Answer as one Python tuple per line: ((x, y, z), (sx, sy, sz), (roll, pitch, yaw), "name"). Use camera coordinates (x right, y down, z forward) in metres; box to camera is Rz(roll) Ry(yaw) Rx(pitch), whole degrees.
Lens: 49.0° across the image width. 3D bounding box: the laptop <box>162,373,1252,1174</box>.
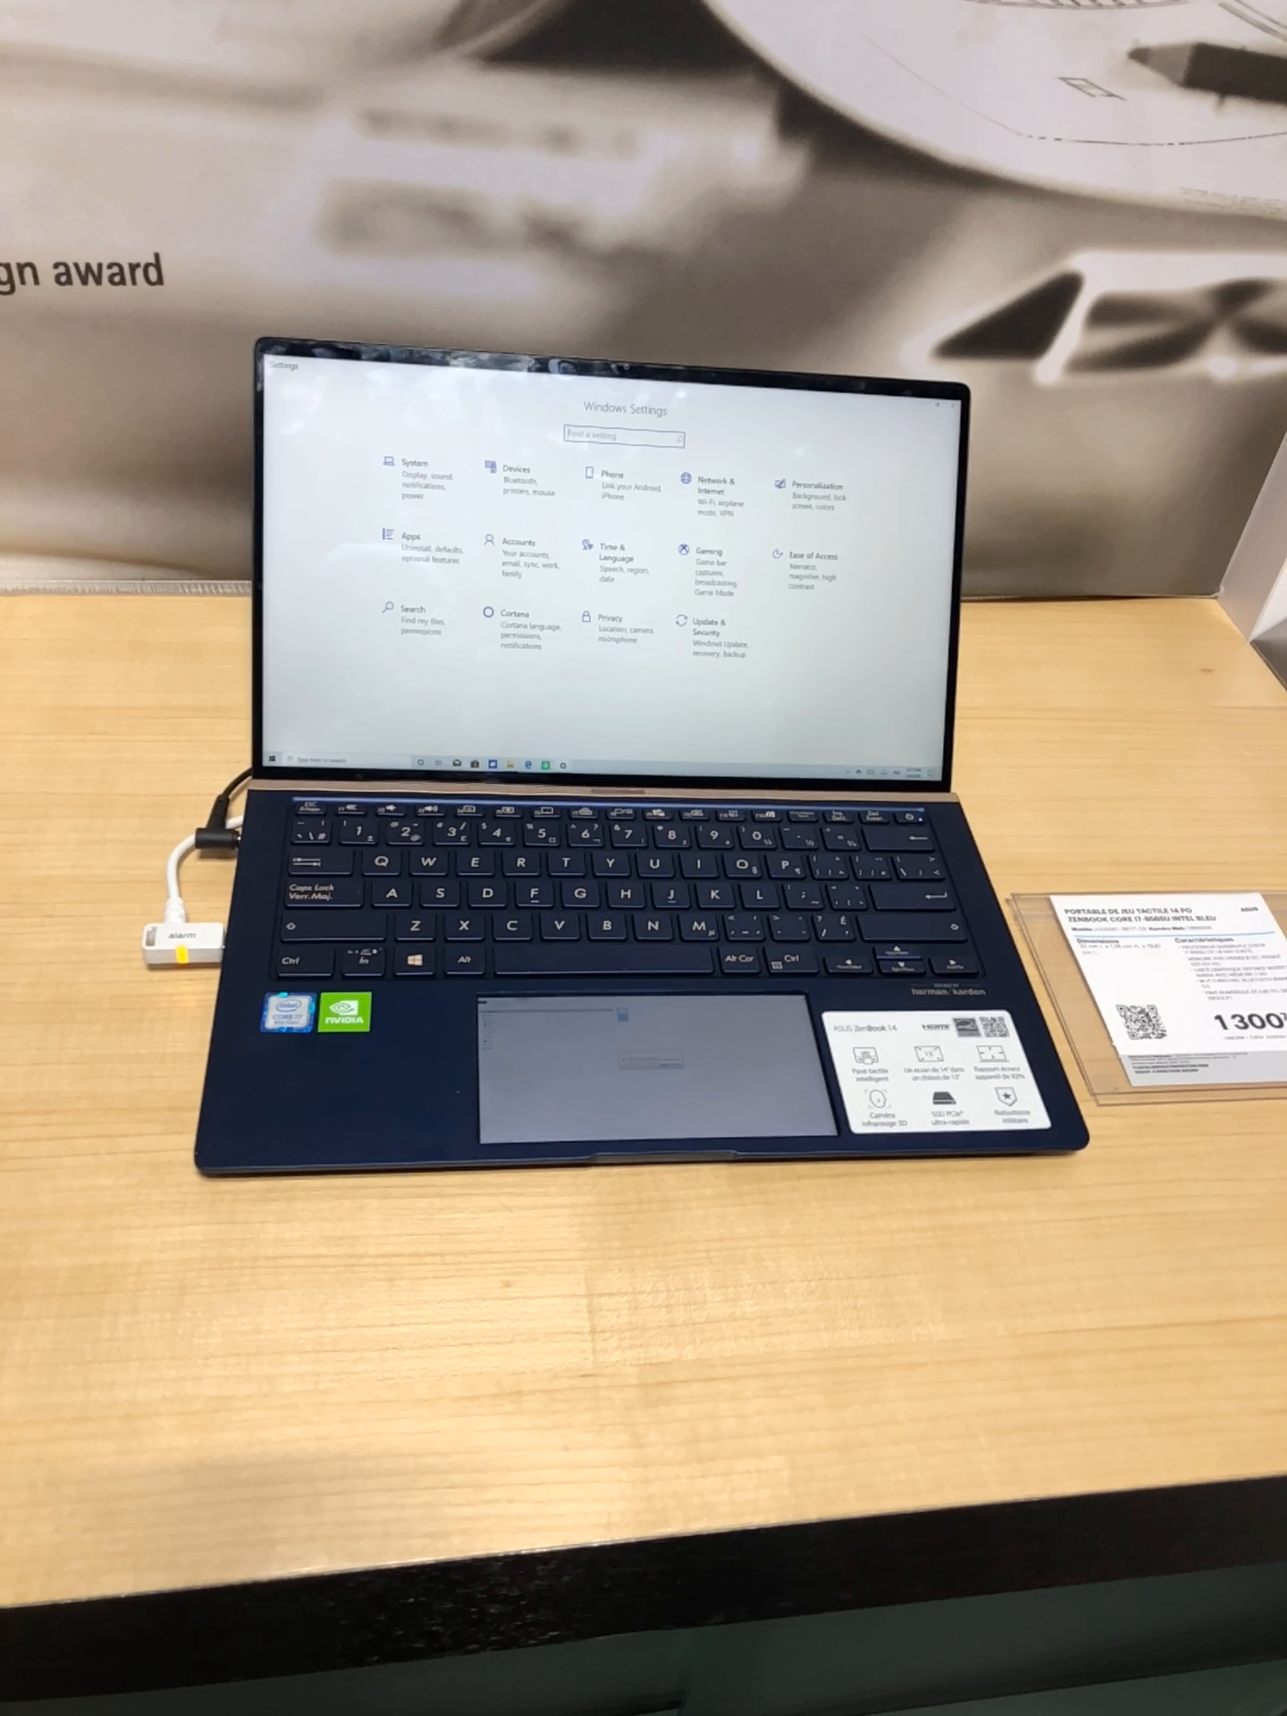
((0.007, -0.055, 0.595), (0.332, 0.159, 0.322), (0, 41, -9), "laptop")
